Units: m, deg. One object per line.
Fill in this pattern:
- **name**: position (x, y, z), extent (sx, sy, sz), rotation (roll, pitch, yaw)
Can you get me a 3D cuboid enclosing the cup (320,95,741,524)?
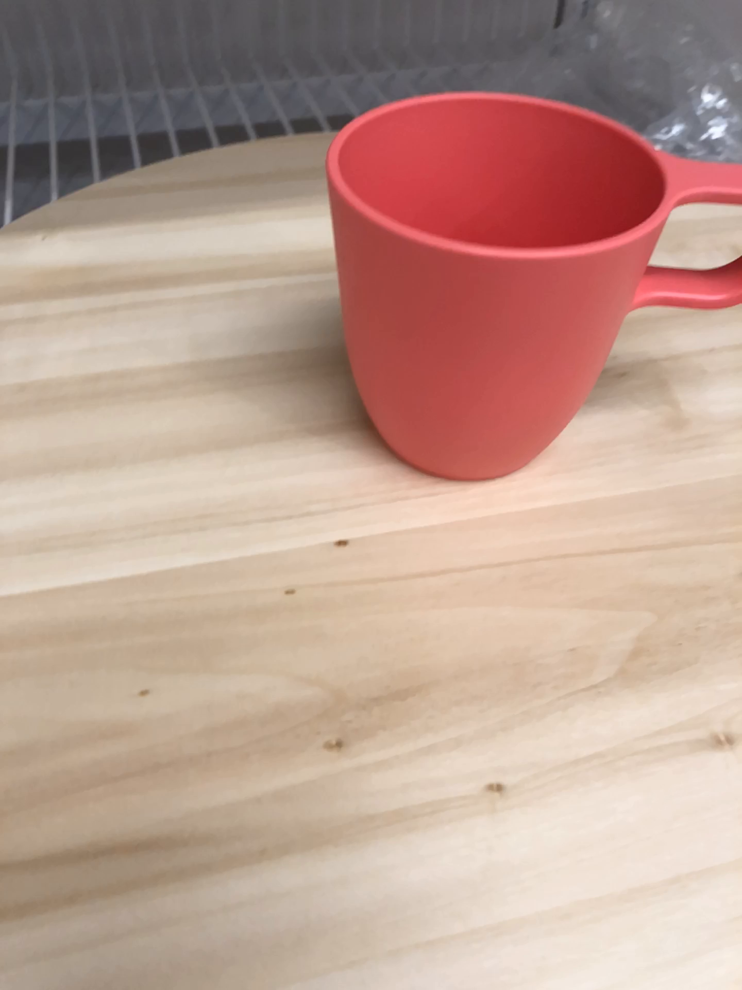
- **cup**: position (0.045, -0.050, 0.225), extent (0.110, 0.080, 0.080), rotation (2, 45, 1)
